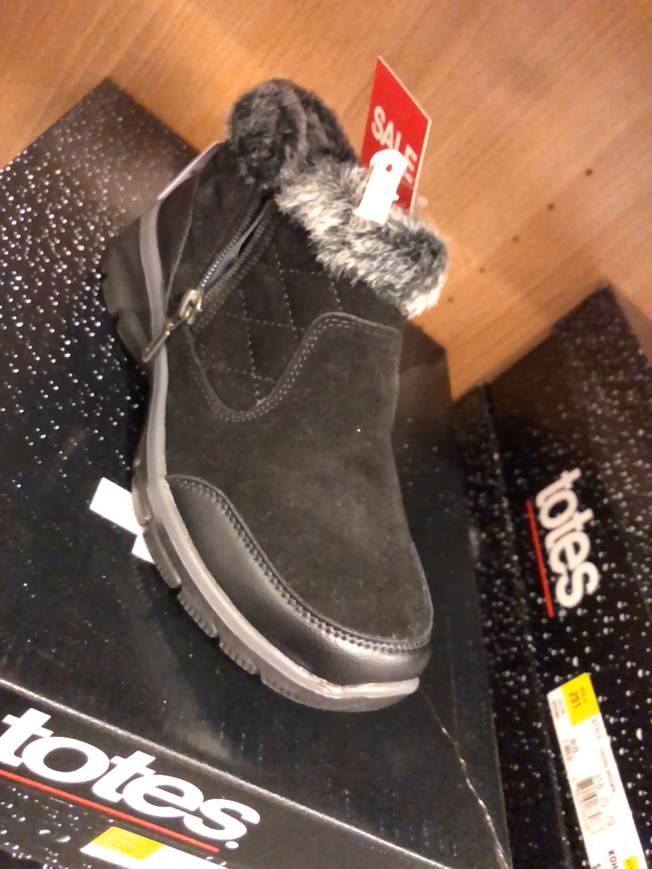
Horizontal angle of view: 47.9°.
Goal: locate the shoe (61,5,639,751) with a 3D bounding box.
[{"bbox_3d":[-0.010,-0.029,0.295,0.105,0.112,0.249,11,47,-46],"label":"shoe"}]
